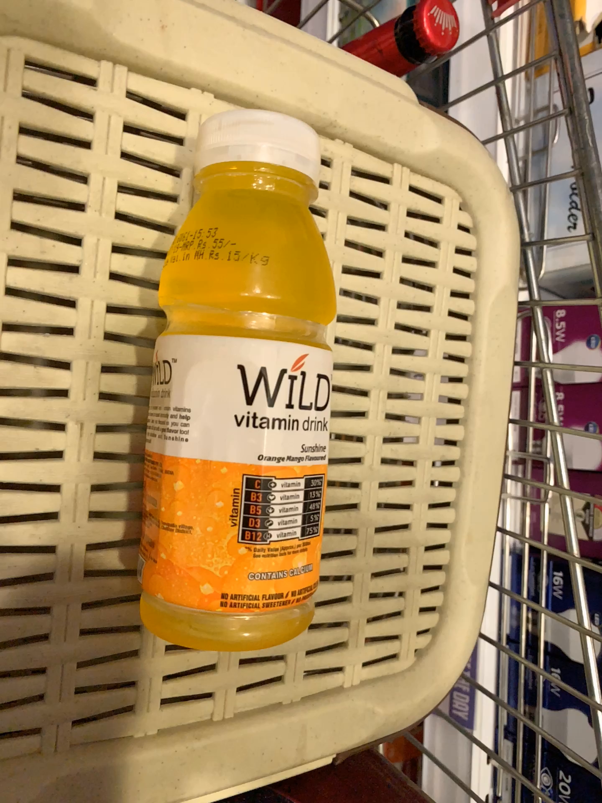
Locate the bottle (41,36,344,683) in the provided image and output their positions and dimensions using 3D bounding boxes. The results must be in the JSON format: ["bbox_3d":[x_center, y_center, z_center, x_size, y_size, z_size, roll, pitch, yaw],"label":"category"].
[{"bbox_3d":[-0.036,-0.011,0.206,0.060,0.060,0.170,3,93,-46],"label":"bottle"}]
